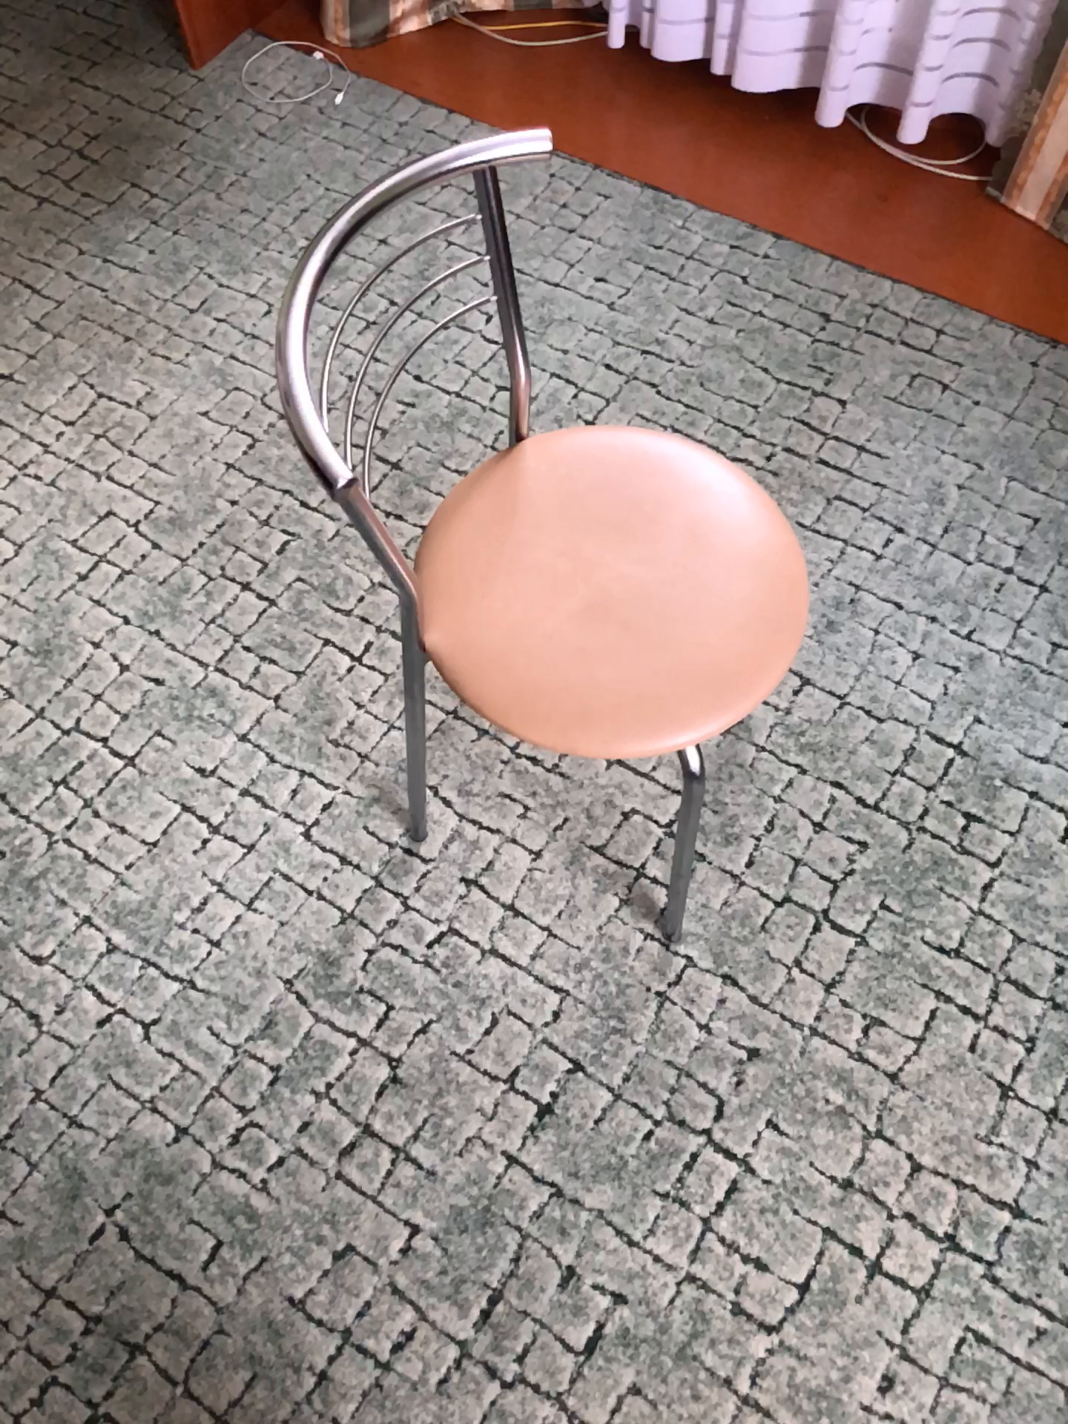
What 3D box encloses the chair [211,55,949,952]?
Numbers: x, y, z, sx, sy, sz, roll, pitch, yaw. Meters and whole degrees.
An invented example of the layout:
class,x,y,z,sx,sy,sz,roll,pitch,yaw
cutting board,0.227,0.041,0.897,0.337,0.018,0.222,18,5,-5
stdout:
class,x,y,z,sx,sy,sz,roll,pitch,yaw
chair,0.066,-0.148,1.262,0.450,0.805,0.445,18,63,12
